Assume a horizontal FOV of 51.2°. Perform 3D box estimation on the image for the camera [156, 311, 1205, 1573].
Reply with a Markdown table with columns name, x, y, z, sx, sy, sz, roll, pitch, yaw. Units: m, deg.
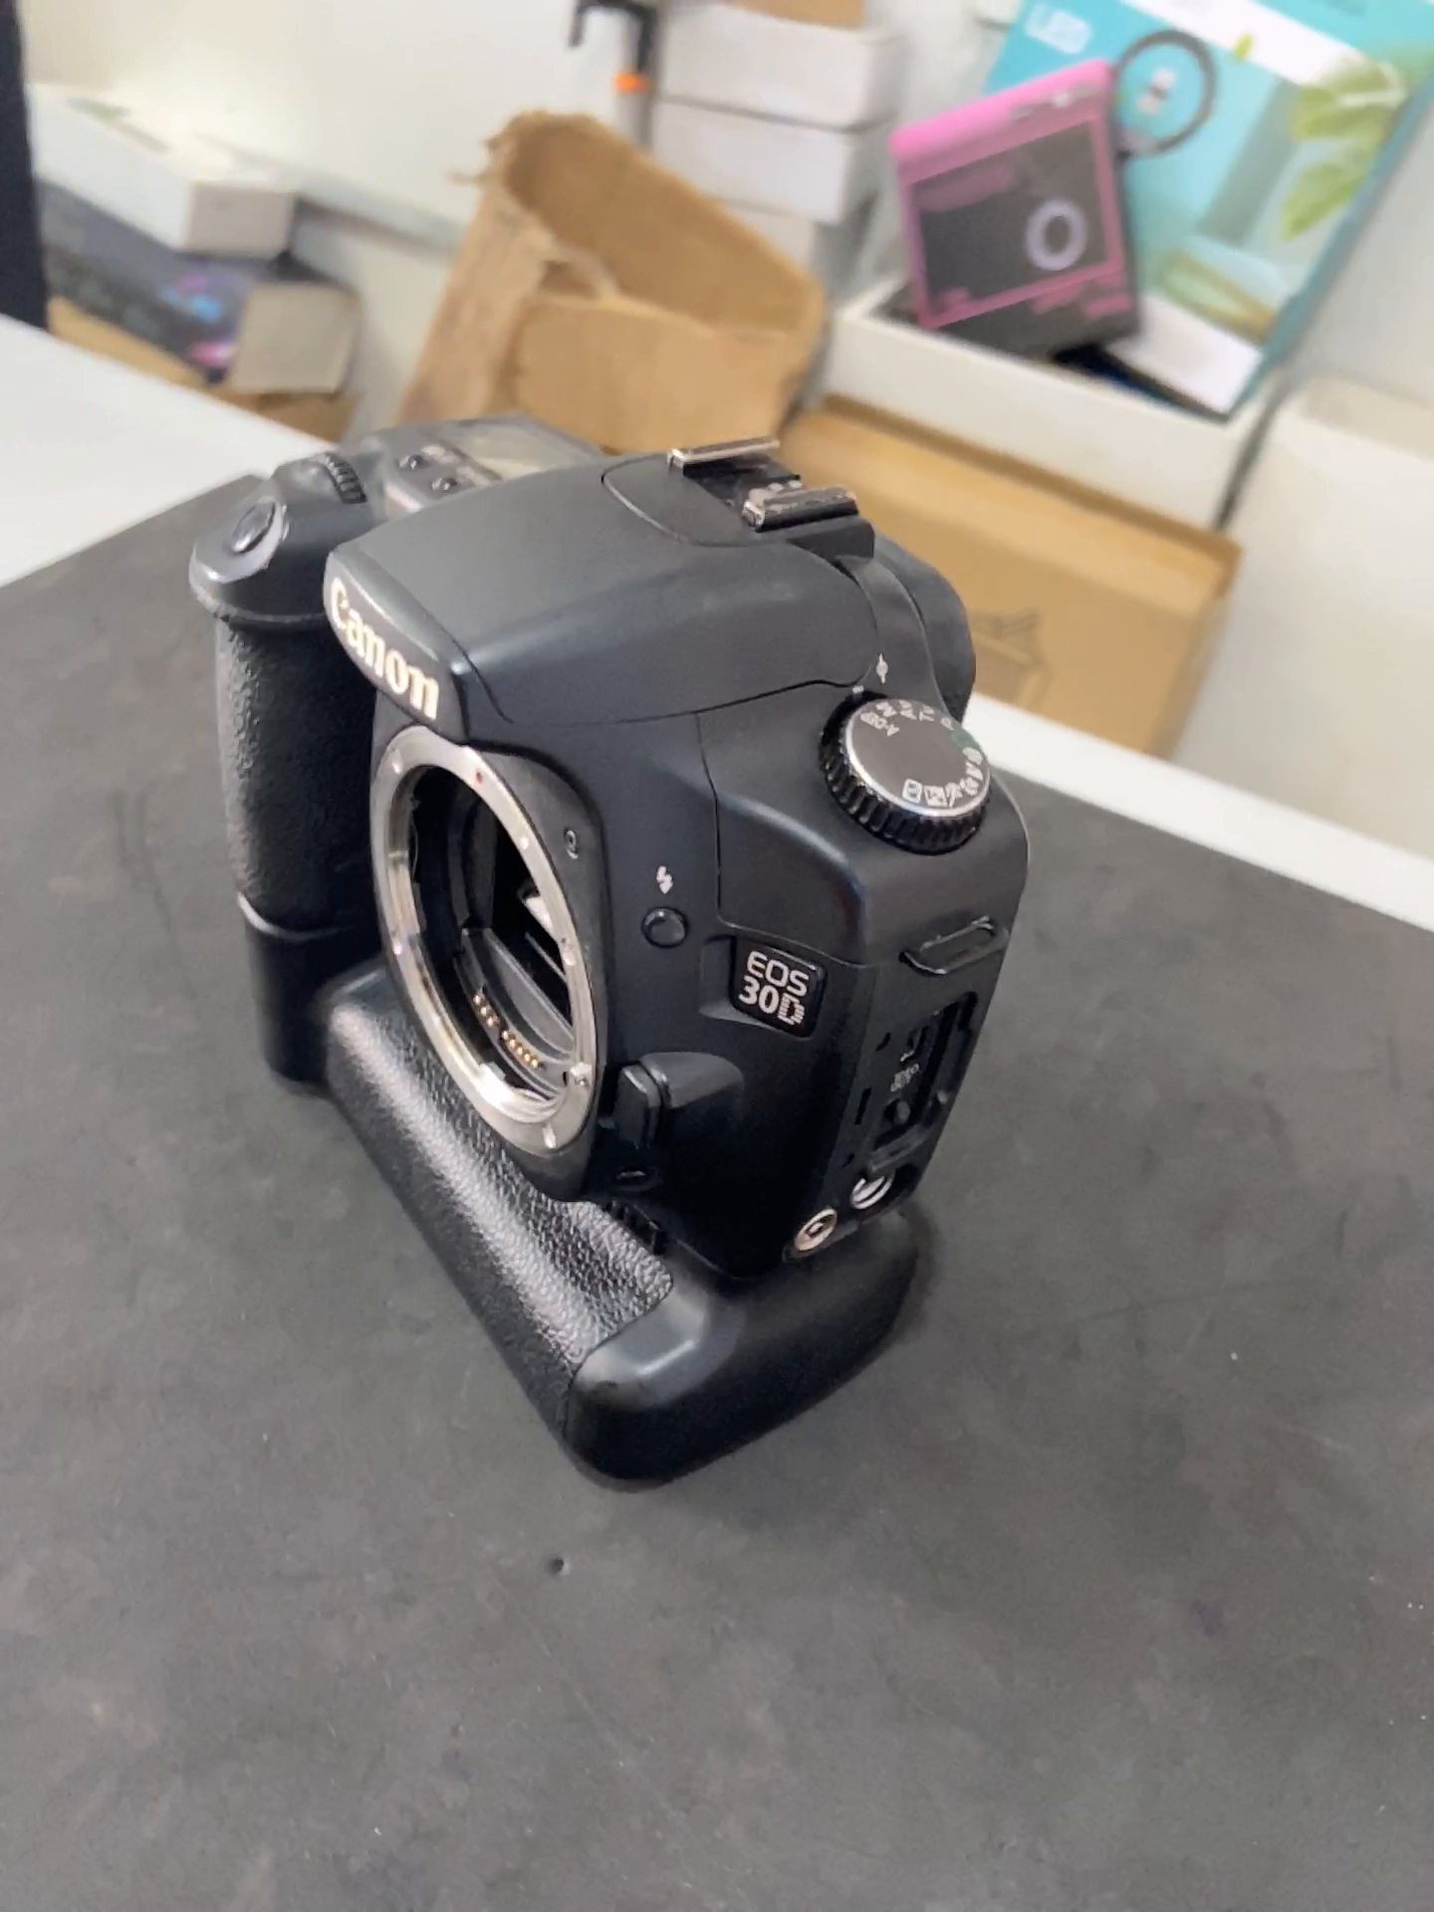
| name | x | y | z | sx | sy | sz | roll | pitch | yaw |
| --- | --- | --- | --- | --- | --- | --- | --- | --- | --- |
| camera | -0.021 | -0.010 | 0.250 | 0.080 | 0.139 | 0.140 | -20 | 48 | -31 |
